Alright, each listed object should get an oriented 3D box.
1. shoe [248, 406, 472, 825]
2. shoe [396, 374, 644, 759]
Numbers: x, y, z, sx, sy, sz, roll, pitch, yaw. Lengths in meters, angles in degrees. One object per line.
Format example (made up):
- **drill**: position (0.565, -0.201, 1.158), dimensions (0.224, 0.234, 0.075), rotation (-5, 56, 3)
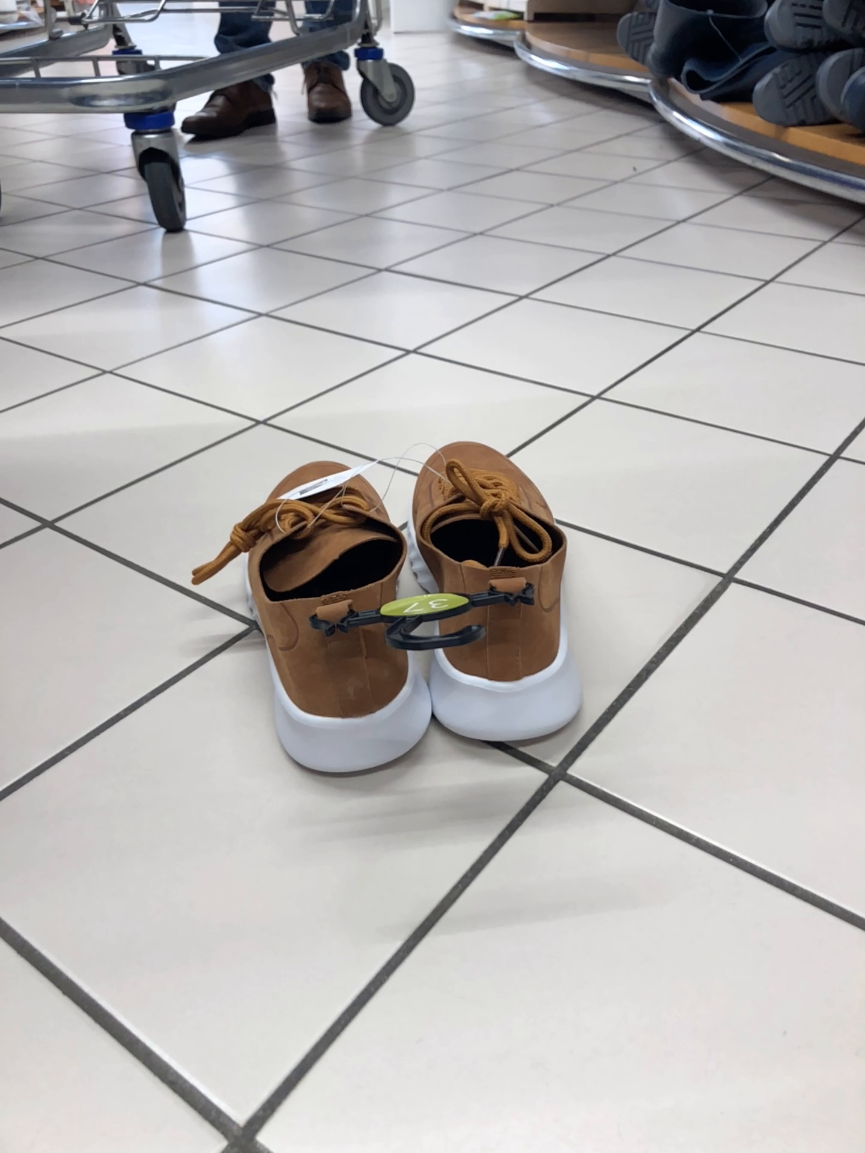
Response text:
- **shoe**: position (-0.046, 0.004, 0.507), dimensions (0.090, 0.099, 0.231), rotation (-6, 33, -7)
- **shoe**: position (0.035, -0.020, 0.515), dimensions (0.090, 0.099, 0.221), rotation (-4, 33, -4)
